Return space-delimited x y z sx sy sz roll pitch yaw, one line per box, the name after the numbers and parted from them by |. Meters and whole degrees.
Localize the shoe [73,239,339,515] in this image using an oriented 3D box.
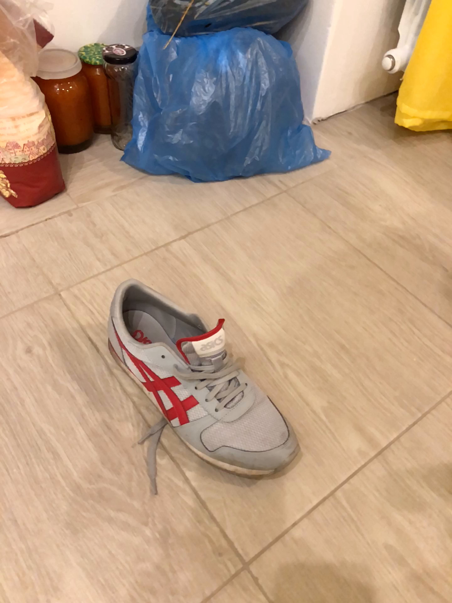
-0.035 0.077 0.580 0.110 0.129 0.298 -36 61 -29 | shoe
